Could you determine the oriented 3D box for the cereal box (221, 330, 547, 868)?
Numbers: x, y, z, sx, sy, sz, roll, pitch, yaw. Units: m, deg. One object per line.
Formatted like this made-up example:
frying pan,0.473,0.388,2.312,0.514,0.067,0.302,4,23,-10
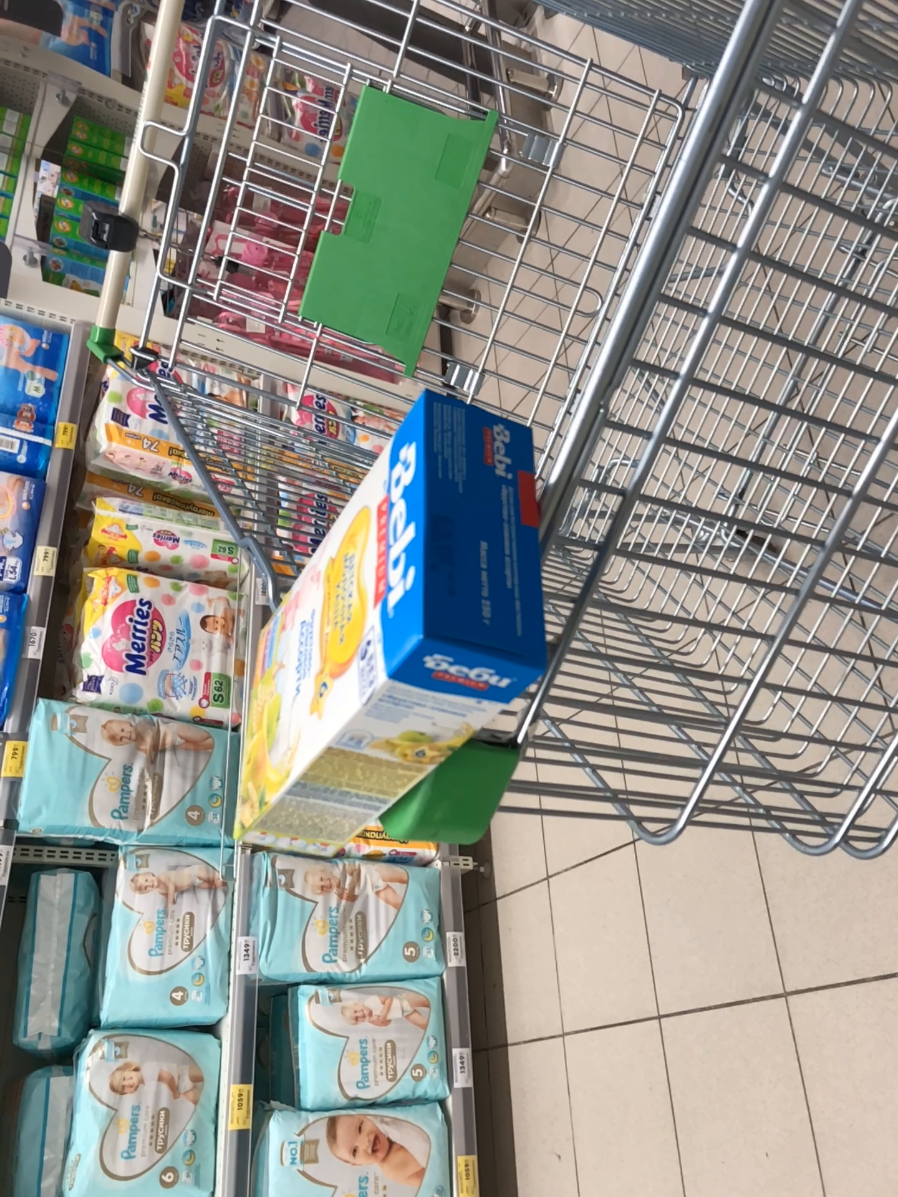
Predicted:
cereal box,-0.037,0.011,0.444,0.211,0.050,0.150,-48,32,46
